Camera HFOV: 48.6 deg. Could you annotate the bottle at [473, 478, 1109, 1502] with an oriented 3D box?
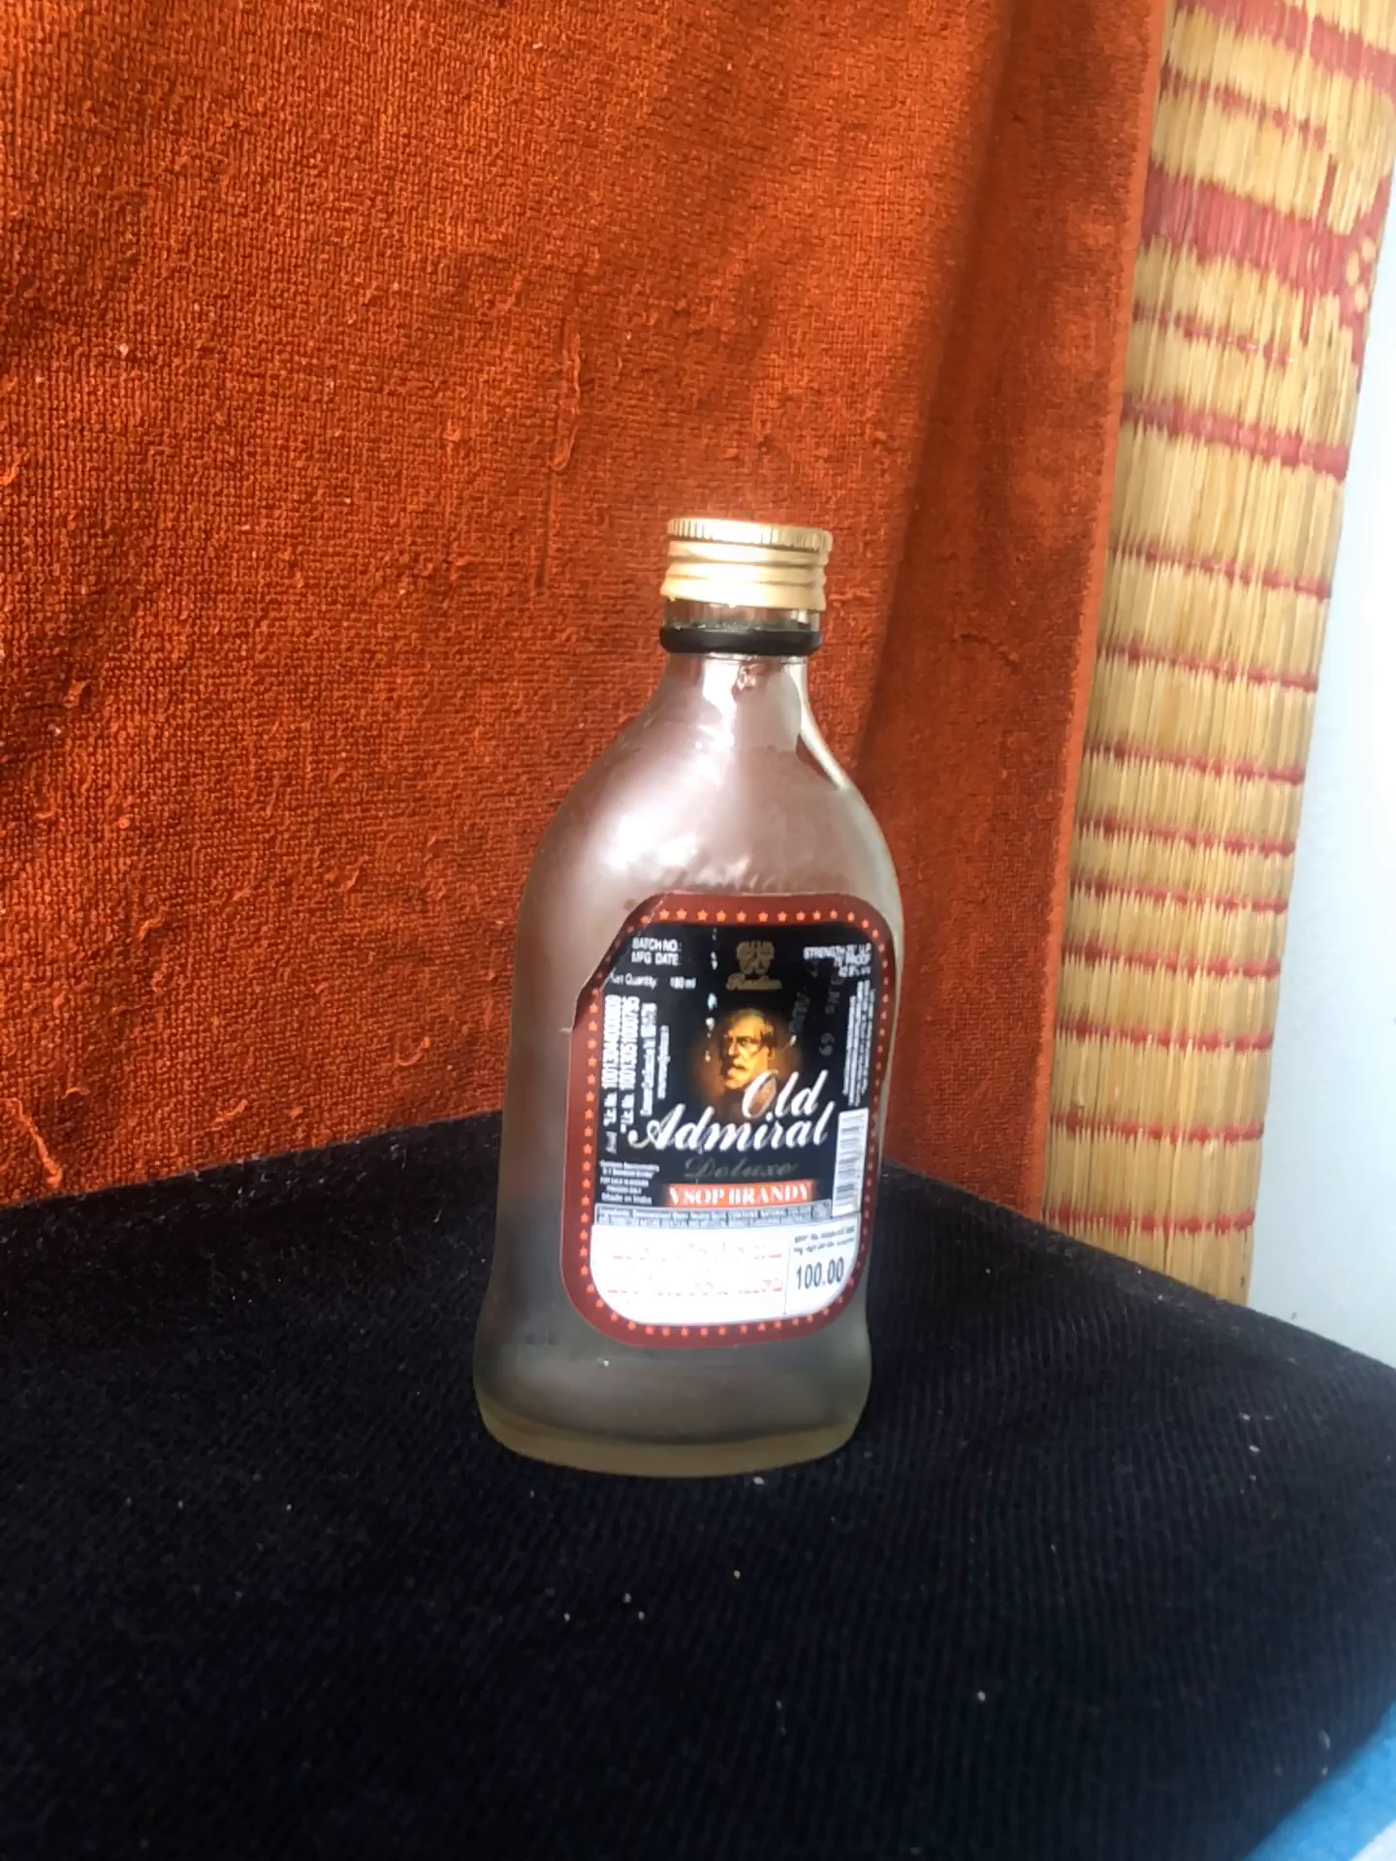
[{"bbox_3d":[0.009,0.010,0.250,0.070,0.150,0.050,4,13,-16],"label":"bottle"}]
